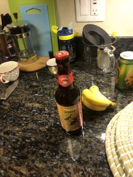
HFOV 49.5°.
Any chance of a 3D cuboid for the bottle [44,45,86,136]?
[{"bbox_3d":[0.008,0.016,0.306,0.060,0.199,0.060,-5,38,4],"label":"bottle"}]
